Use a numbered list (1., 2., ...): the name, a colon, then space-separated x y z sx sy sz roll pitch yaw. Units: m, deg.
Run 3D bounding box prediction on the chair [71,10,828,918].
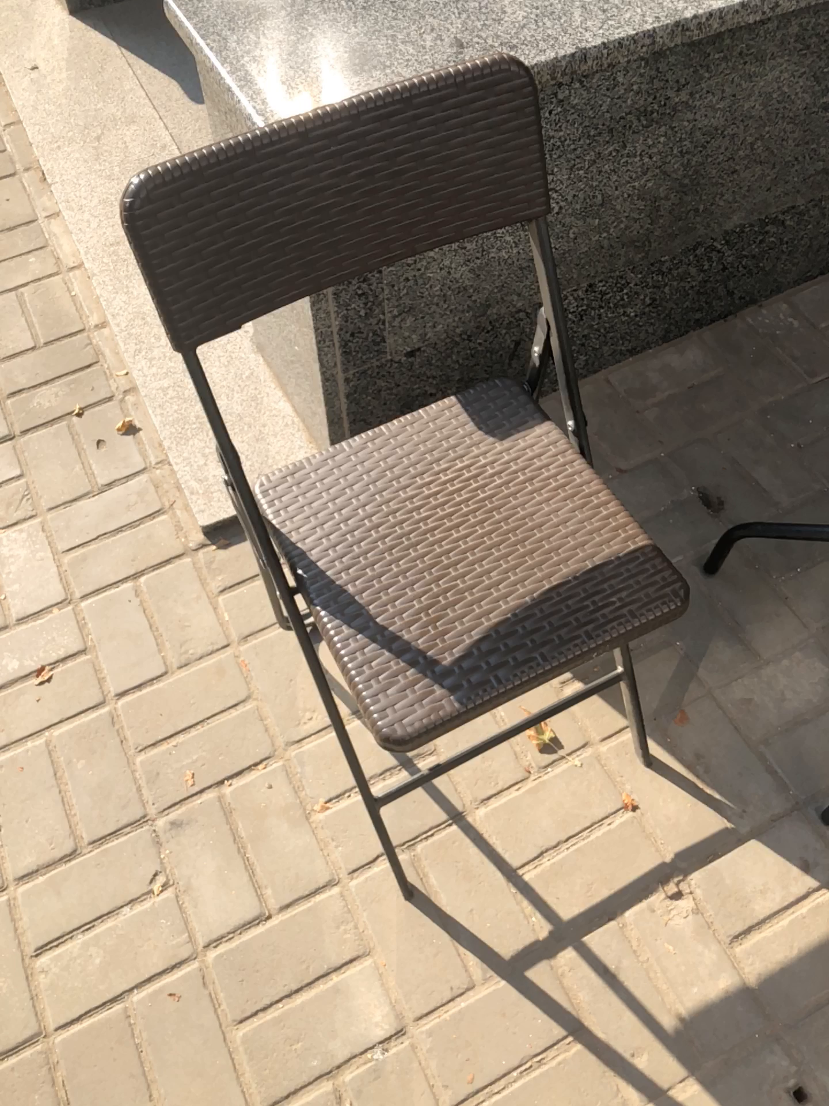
1. chair: 0.036 -0.020 0.984 0.430 0.788 0.461 -25 59 -15
